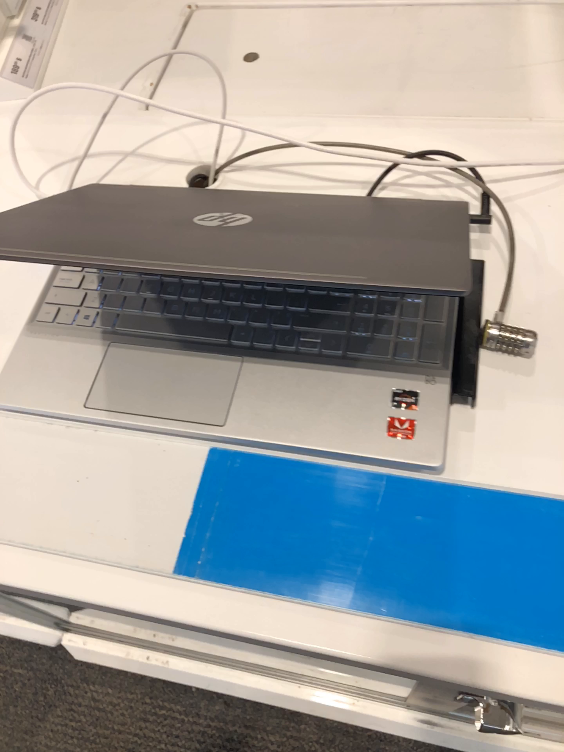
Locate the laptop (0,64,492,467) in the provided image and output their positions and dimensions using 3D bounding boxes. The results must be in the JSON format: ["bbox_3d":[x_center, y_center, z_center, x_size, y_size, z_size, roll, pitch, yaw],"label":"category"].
[{"bbox_3d":[-0.048,-0.093,0.453,0.350,0.134,0.231,7,61,14],"label":"laptop"}]
